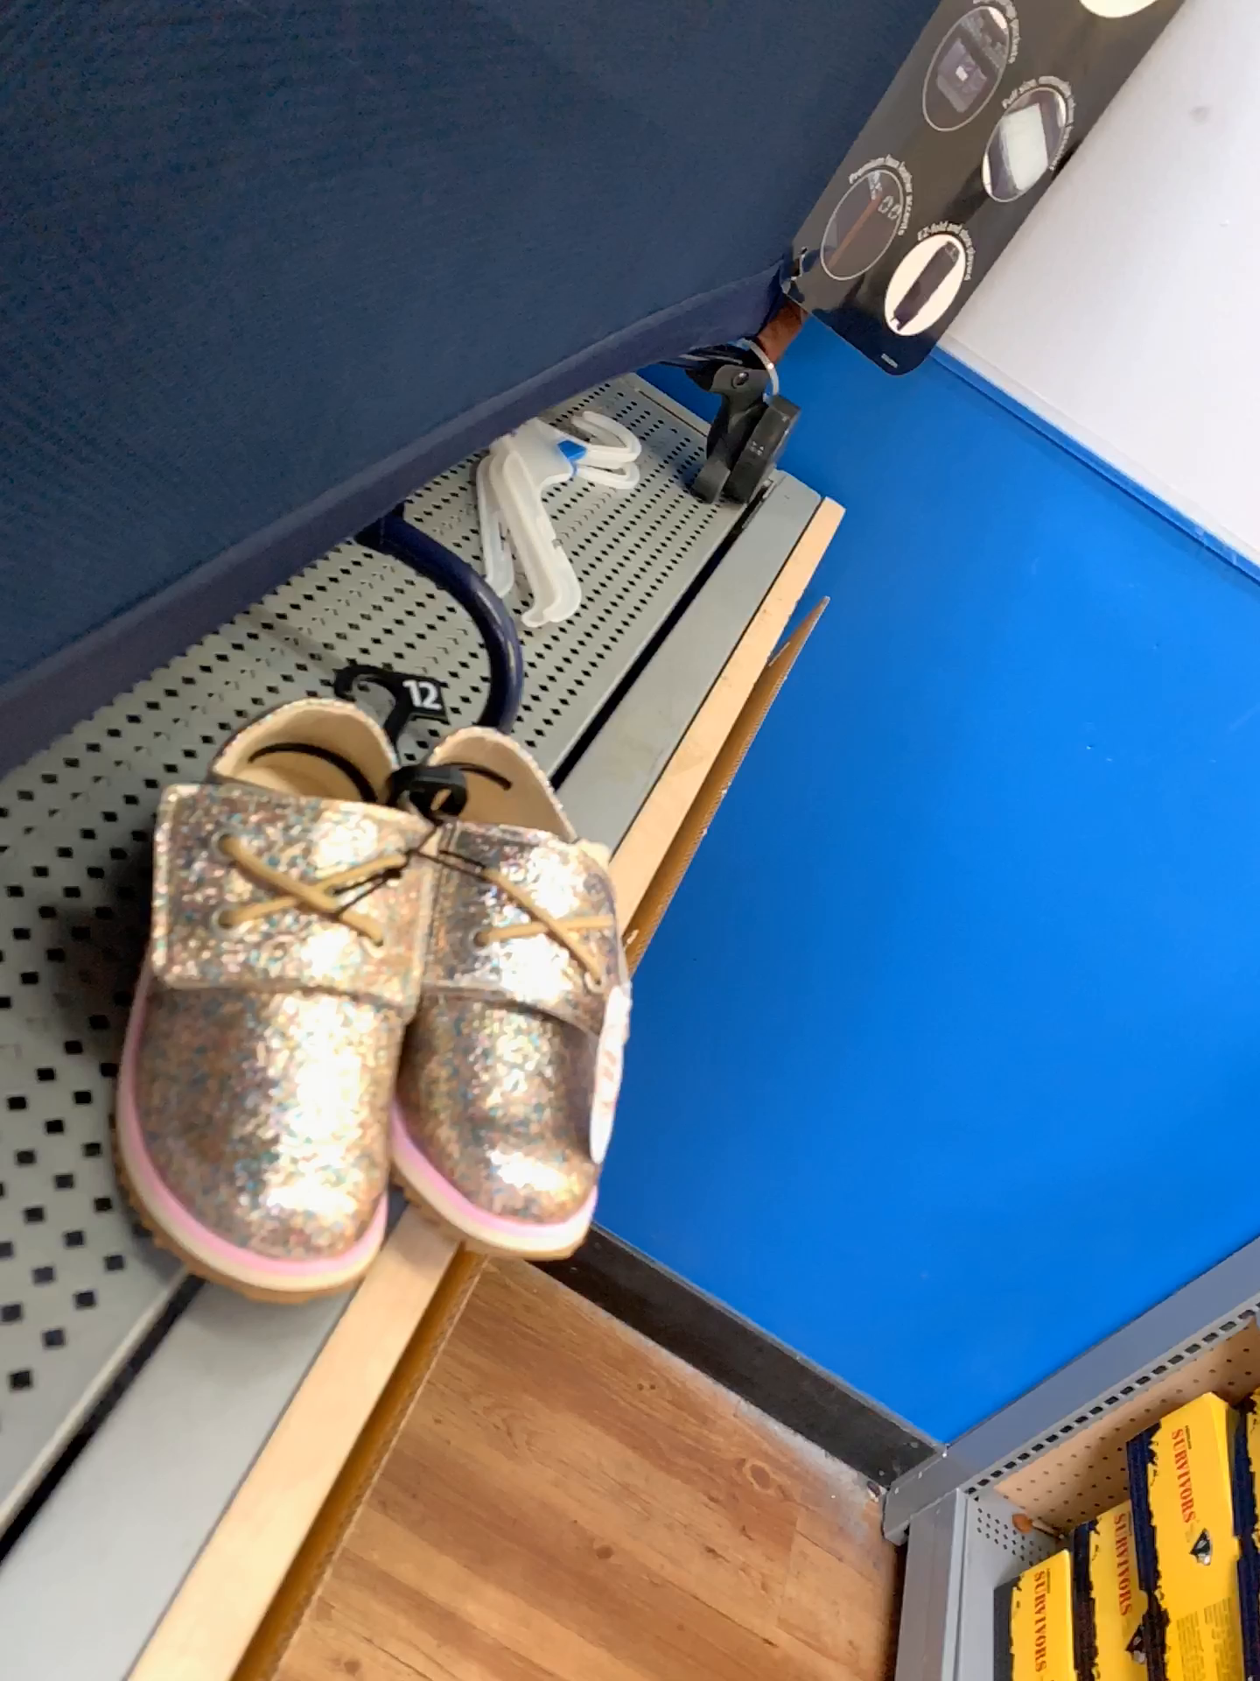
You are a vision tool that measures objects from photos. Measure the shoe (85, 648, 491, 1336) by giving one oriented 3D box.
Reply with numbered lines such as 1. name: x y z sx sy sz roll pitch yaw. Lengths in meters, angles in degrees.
1. shoe: -0.105 0.039 0.397 0.083 0.070 0.199 15 40 -26

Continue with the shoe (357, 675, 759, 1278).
1. shoe: -0.035 0.041 0.447 0.086 0.060 0.206 13 41 -30
